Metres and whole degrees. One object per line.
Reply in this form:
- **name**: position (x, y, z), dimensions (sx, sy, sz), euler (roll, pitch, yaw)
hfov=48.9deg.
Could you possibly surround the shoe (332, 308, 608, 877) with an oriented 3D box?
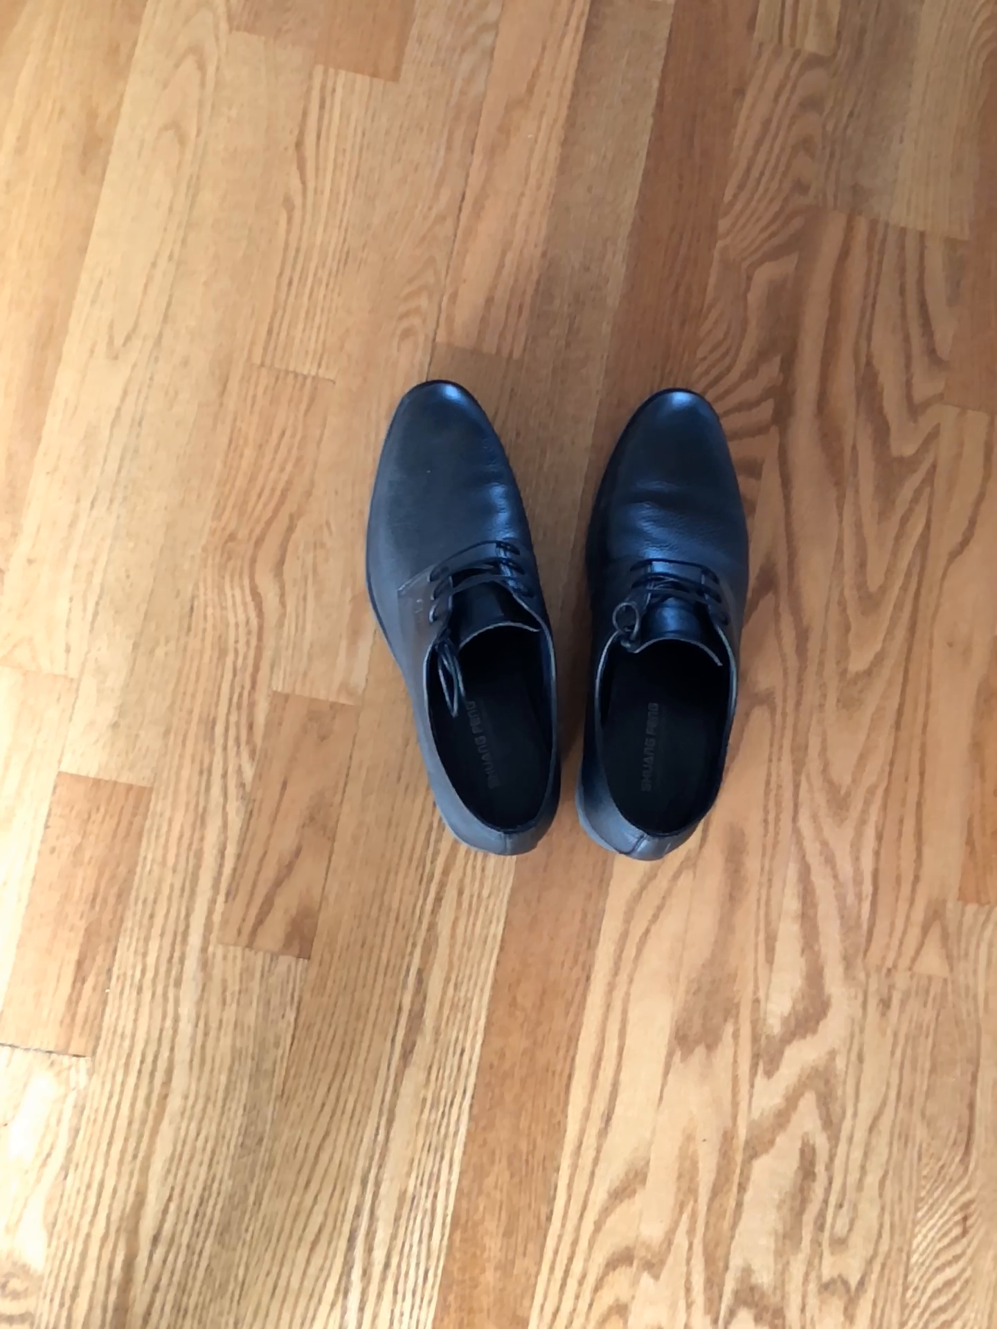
- **shoe**: position (-0.023, -0.037, 0.657), dimensions (0.110, 0.124, 0.304), euler (-7, 83, -6)

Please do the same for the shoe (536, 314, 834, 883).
- **shoe**: position (0.107, -0.032, 0.655), dimensions (0.110, 0.124, 0.299), euler (10, 82, -4)
